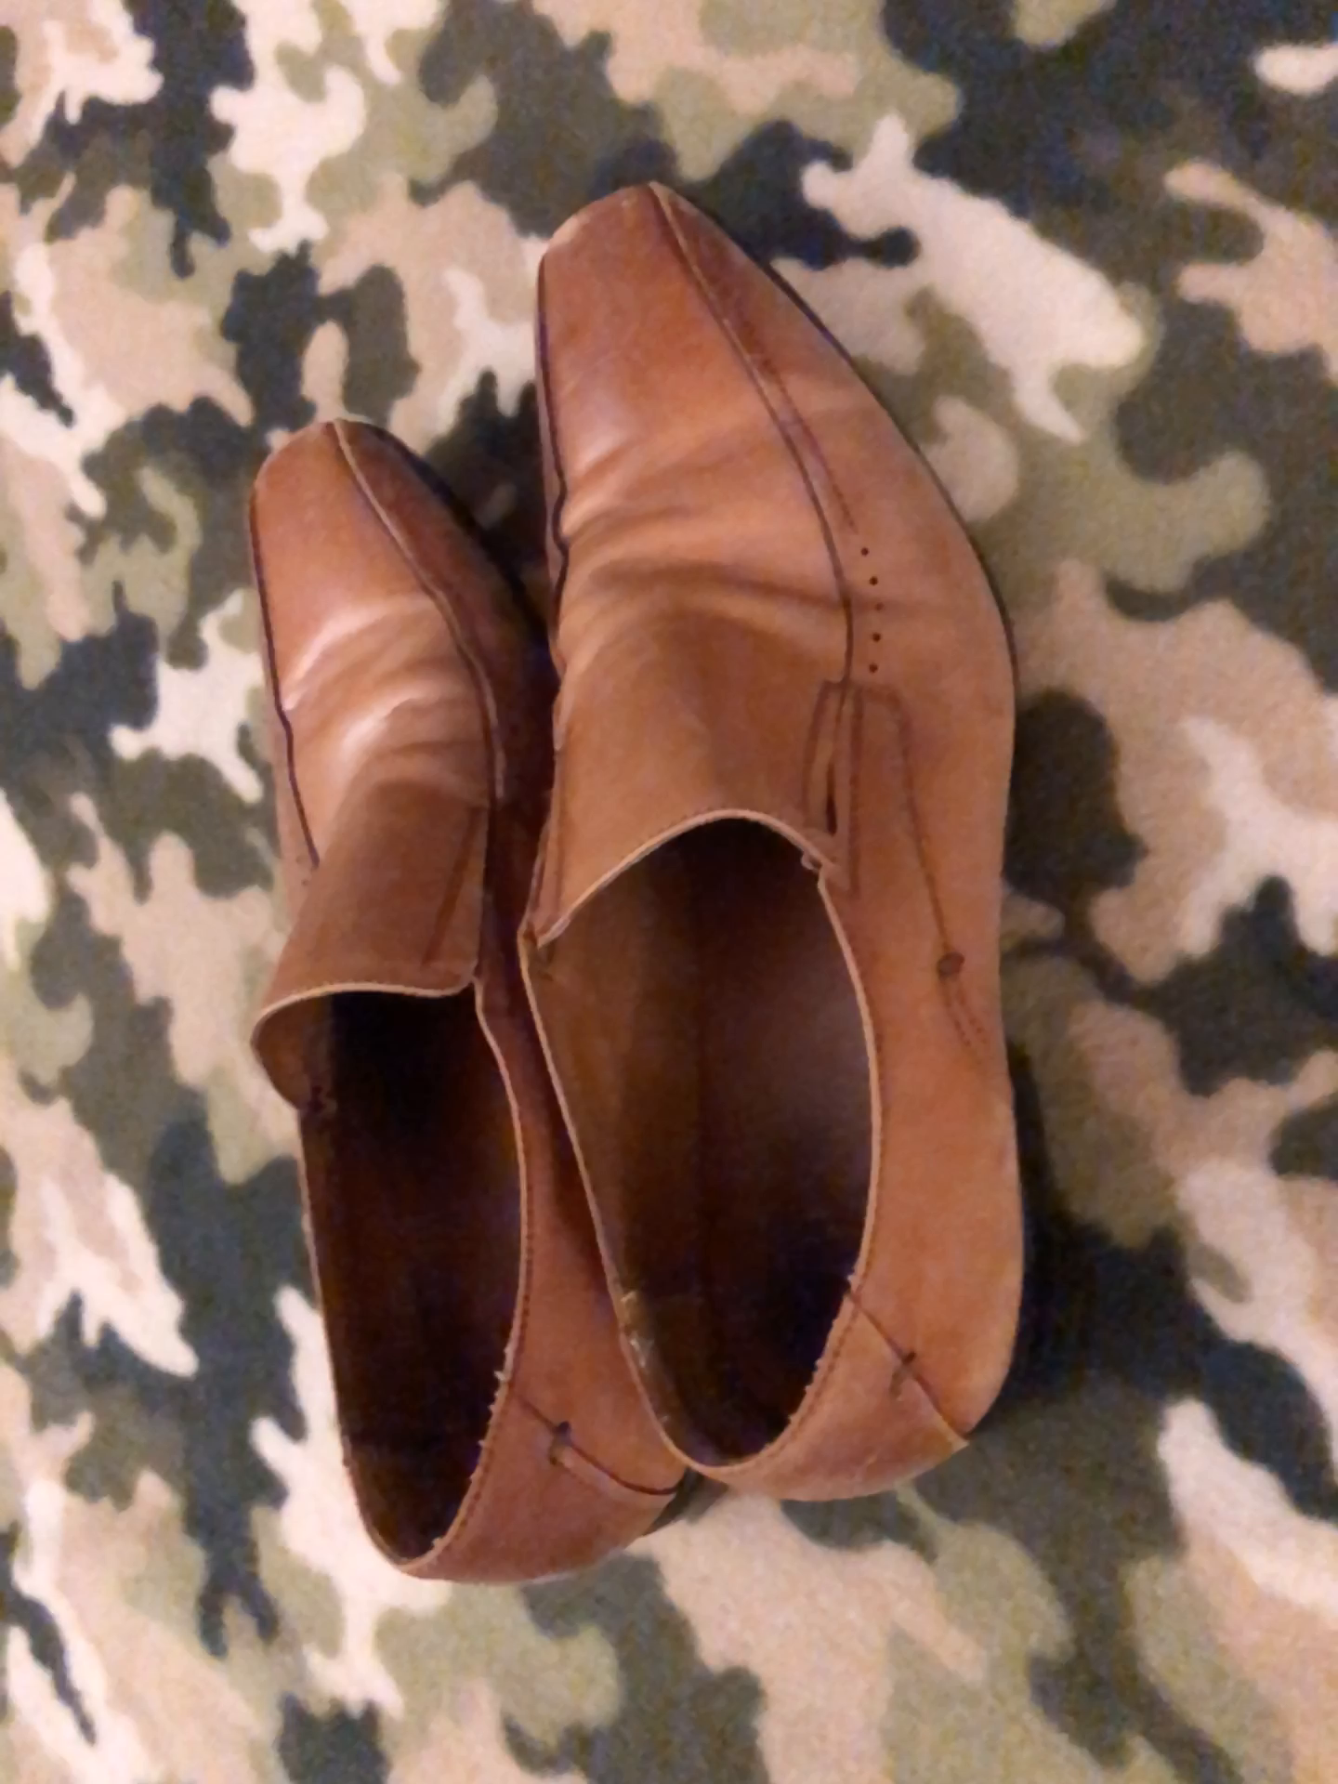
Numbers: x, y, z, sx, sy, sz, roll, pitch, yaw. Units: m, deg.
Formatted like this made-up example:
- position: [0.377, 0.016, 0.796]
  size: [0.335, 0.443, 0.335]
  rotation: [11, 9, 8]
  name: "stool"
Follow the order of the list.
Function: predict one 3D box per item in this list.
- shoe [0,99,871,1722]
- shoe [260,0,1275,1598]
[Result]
- position: [-0.072, -0.001, 0.356]
  size: [0.110, 0.120, 0.321]
  rotation: [-25, 71, 27]
  name: "shoe"
- position: [0.016, -0.042, 0.312]
  size: [0.110, 0.120, 0.320]
  rotation: [-19, 74, 29]
  name: "shoe"
